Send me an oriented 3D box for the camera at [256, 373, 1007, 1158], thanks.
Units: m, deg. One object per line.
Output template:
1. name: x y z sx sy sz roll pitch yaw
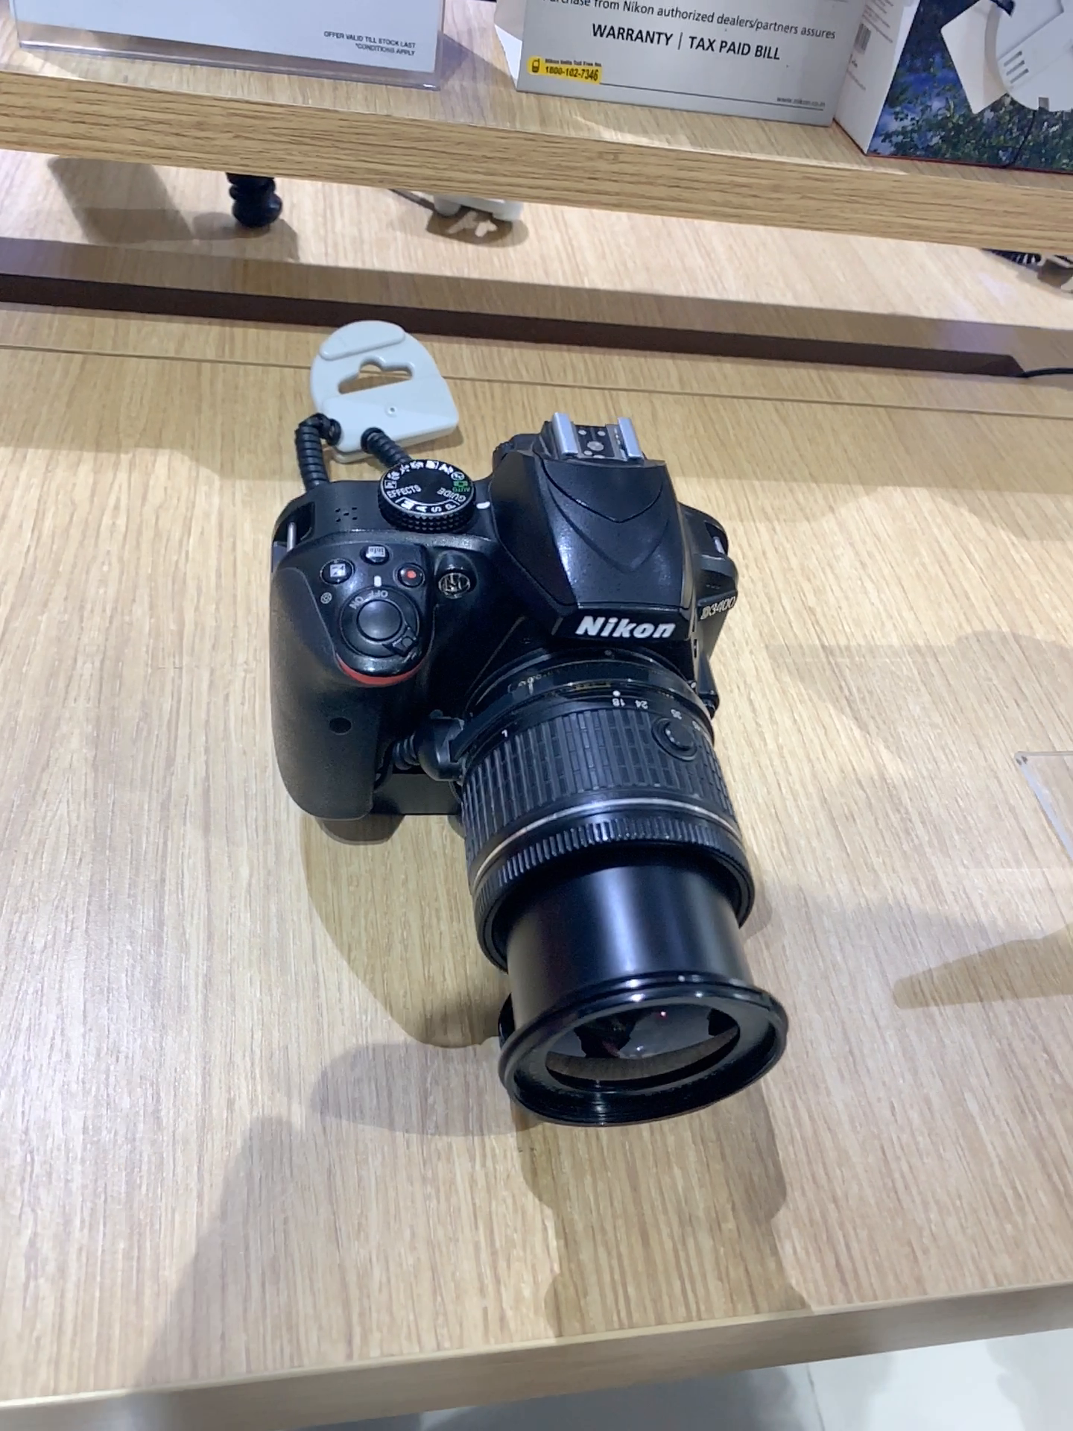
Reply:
1. camera: 0.001 0.006 0.249 0.120 0.094 0.140 -1 48 -12
